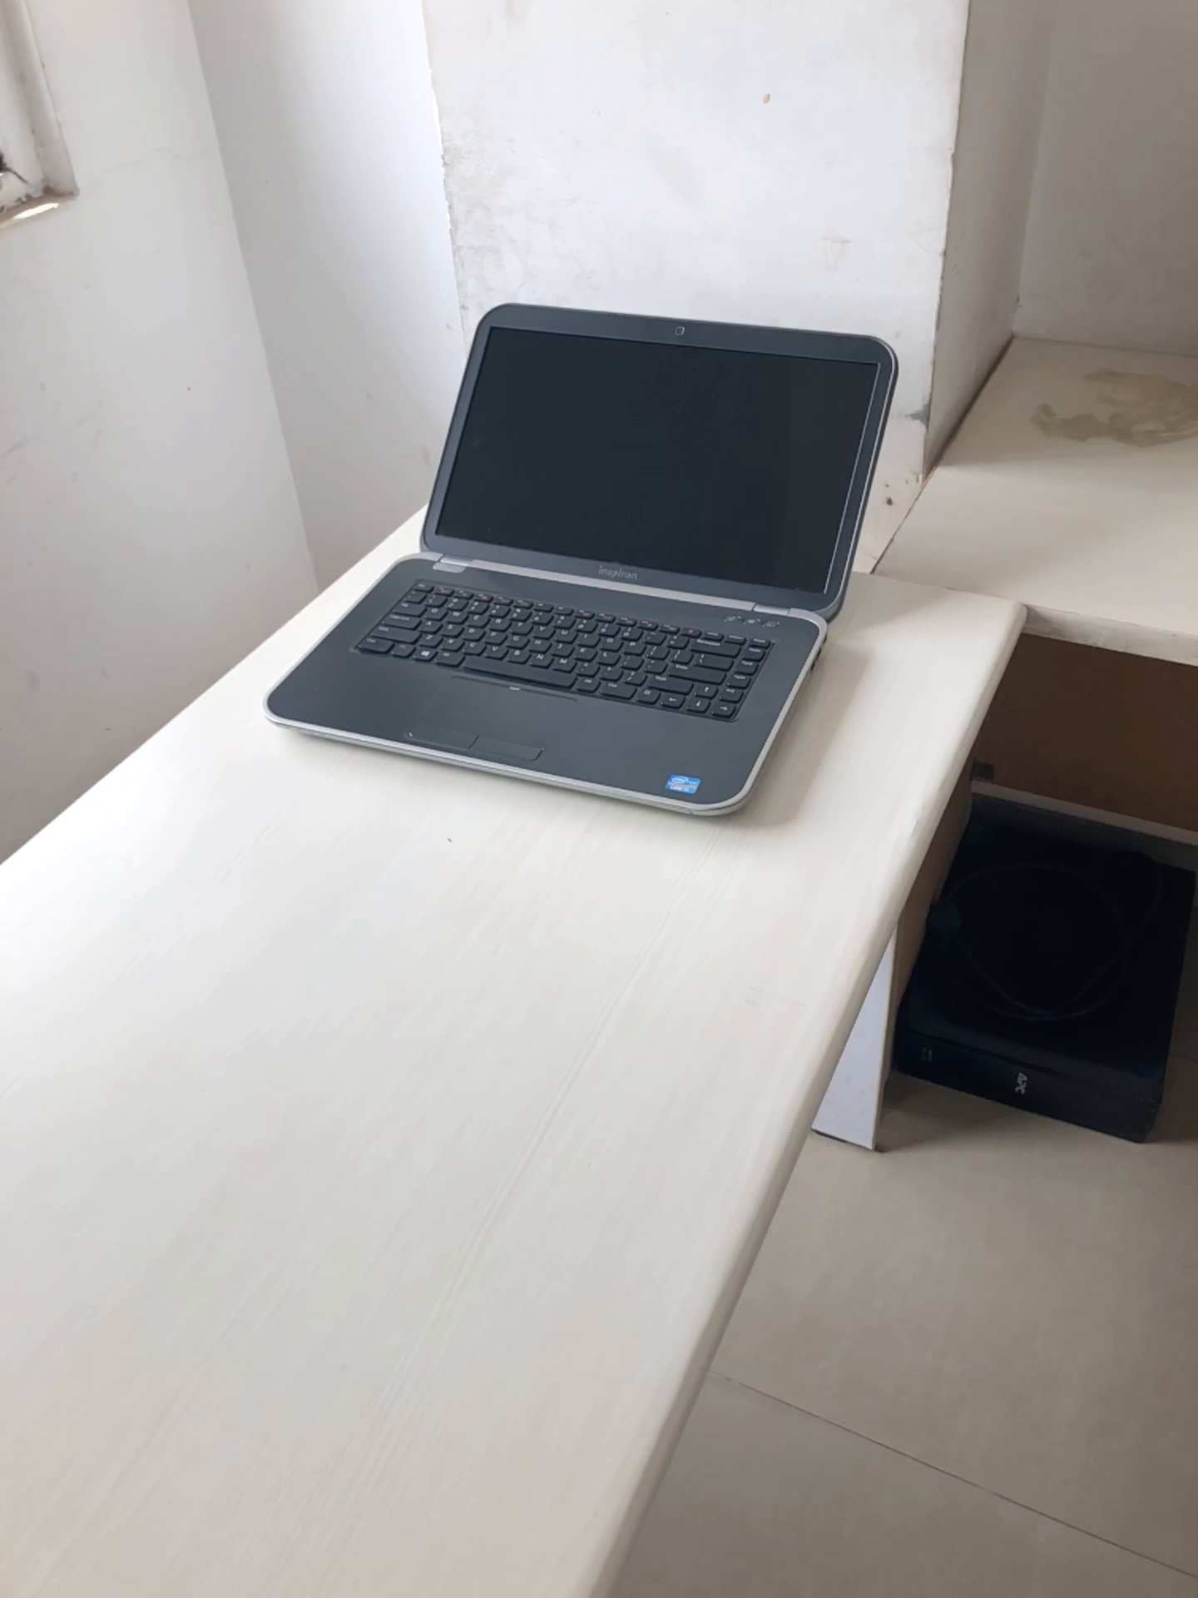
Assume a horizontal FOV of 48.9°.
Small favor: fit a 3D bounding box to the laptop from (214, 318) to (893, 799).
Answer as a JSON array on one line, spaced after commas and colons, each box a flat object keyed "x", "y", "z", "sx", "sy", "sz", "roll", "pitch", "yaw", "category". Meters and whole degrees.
[{"x": -0.005, "y": -0.208, "z": 0.991, "sx": 0.341, "sy": 0.145, "sz": 0.408, "roll": 12, "pitch": 42, "yaw": 19, "category": "laptop"}]
